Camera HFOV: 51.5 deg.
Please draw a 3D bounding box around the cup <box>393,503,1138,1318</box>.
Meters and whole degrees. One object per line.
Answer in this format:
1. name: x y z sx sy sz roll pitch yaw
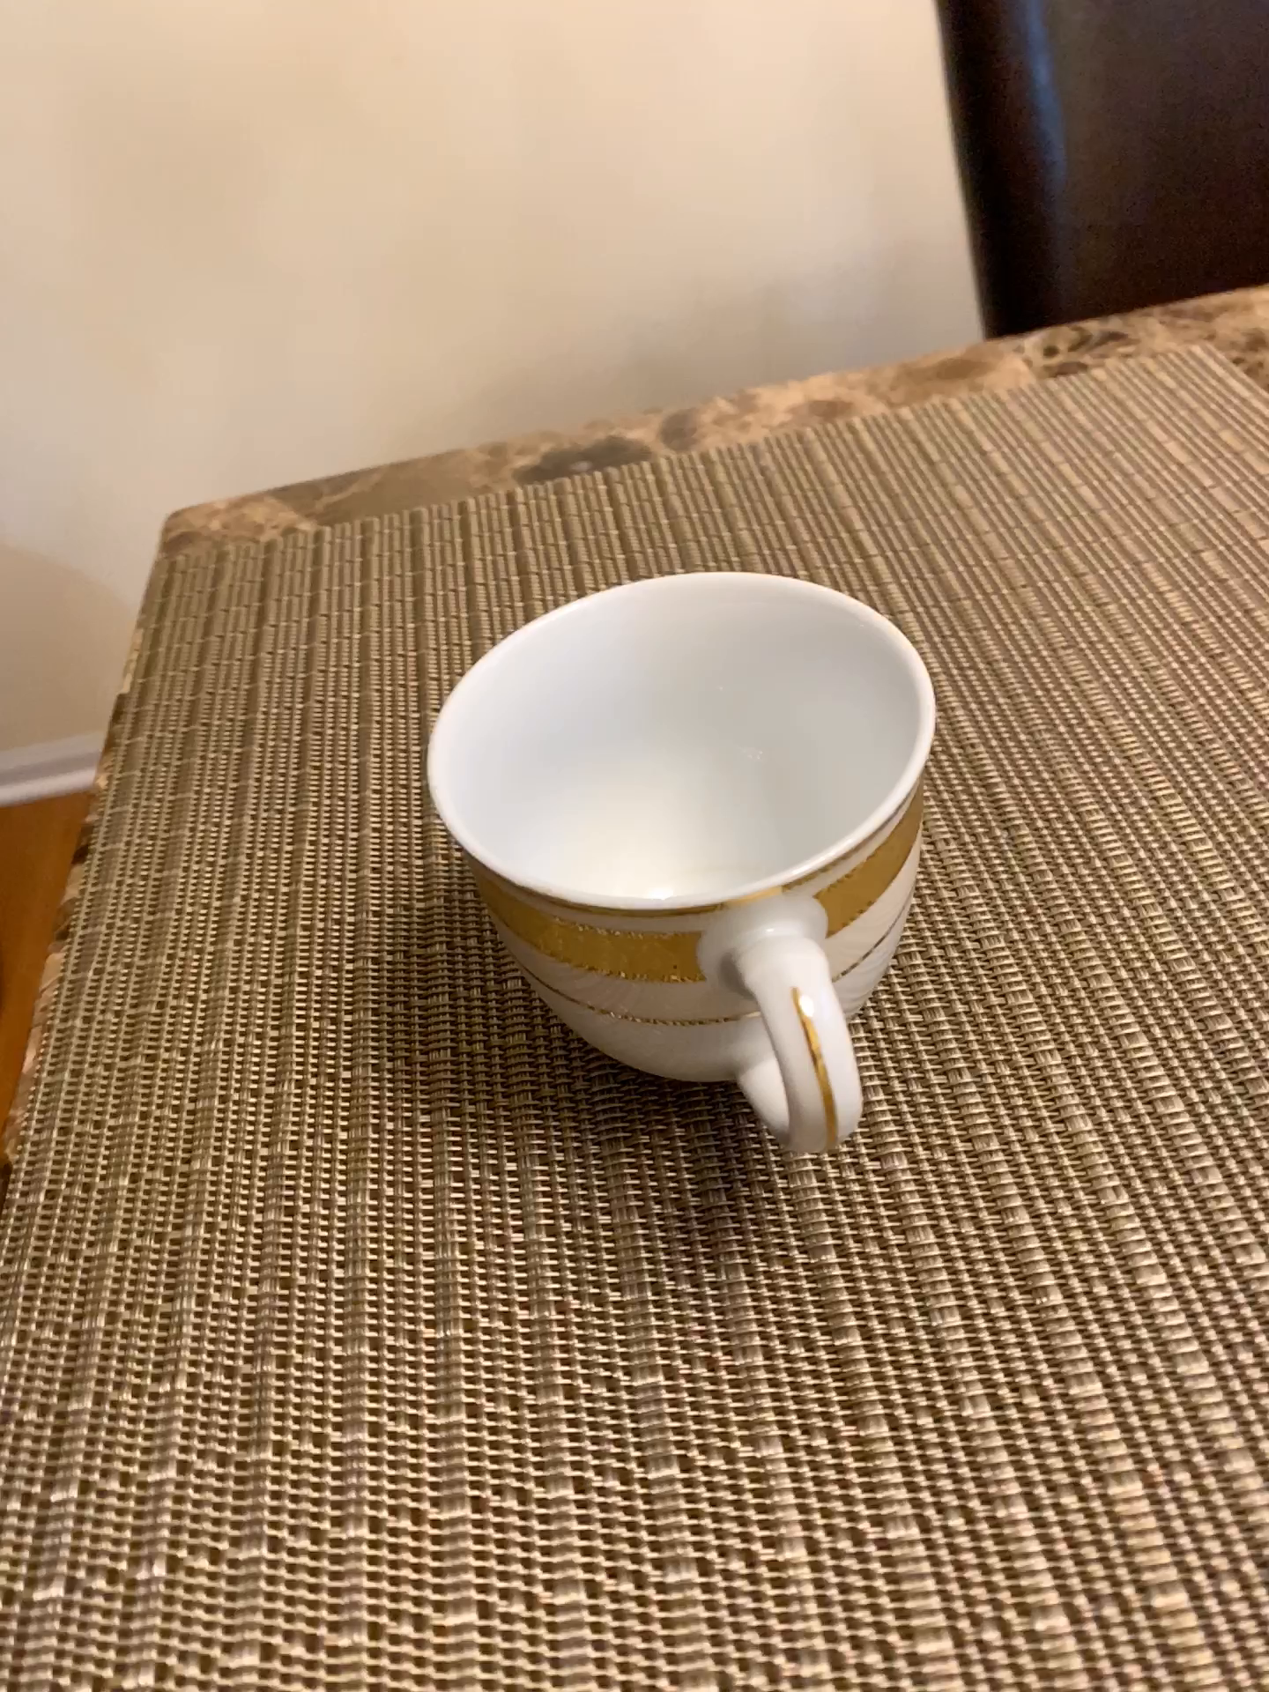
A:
1. cup: 0.013 0.003 0.208 0.082 0.055 0.104 -14 43 -3
